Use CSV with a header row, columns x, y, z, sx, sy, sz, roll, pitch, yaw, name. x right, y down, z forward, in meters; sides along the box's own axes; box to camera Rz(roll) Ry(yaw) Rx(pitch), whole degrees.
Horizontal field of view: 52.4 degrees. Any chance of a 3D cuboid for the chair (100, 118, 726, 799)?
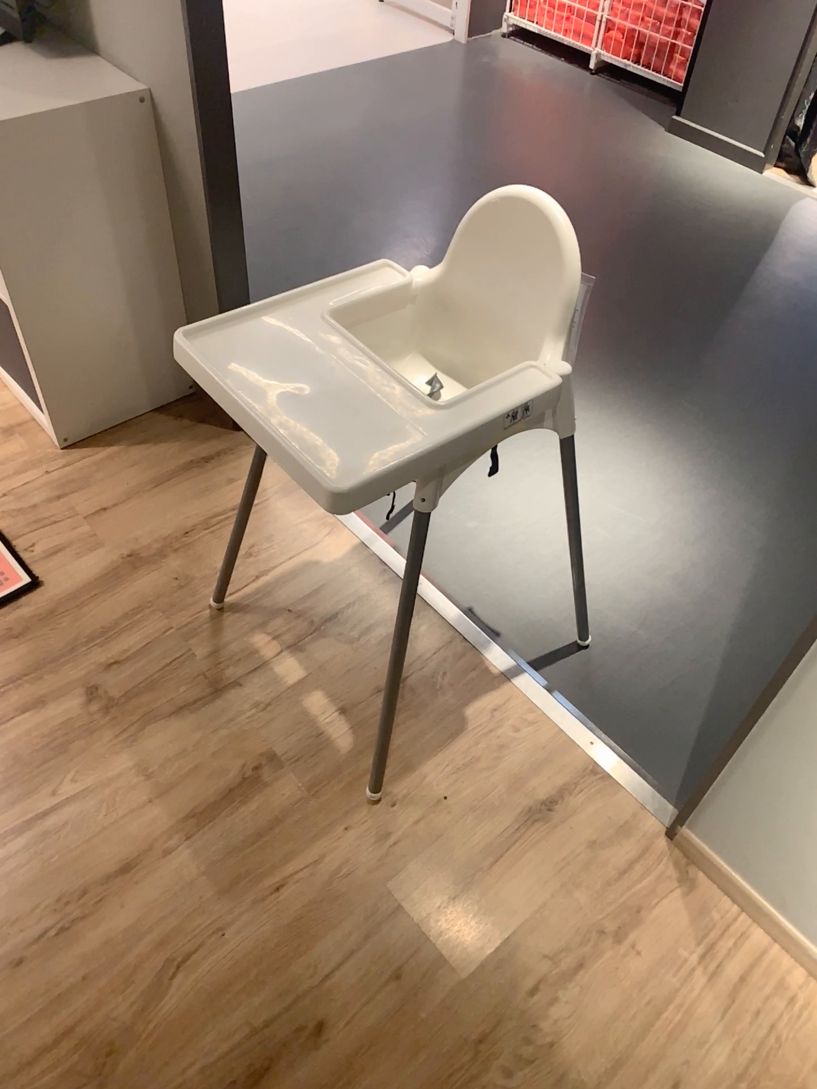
x,y,z,sx,sy,sz,roll,pitch,yaw,name
-0.014,-0.141,1.409,0.621,0.797,0.571,-31,57,-28,chair
